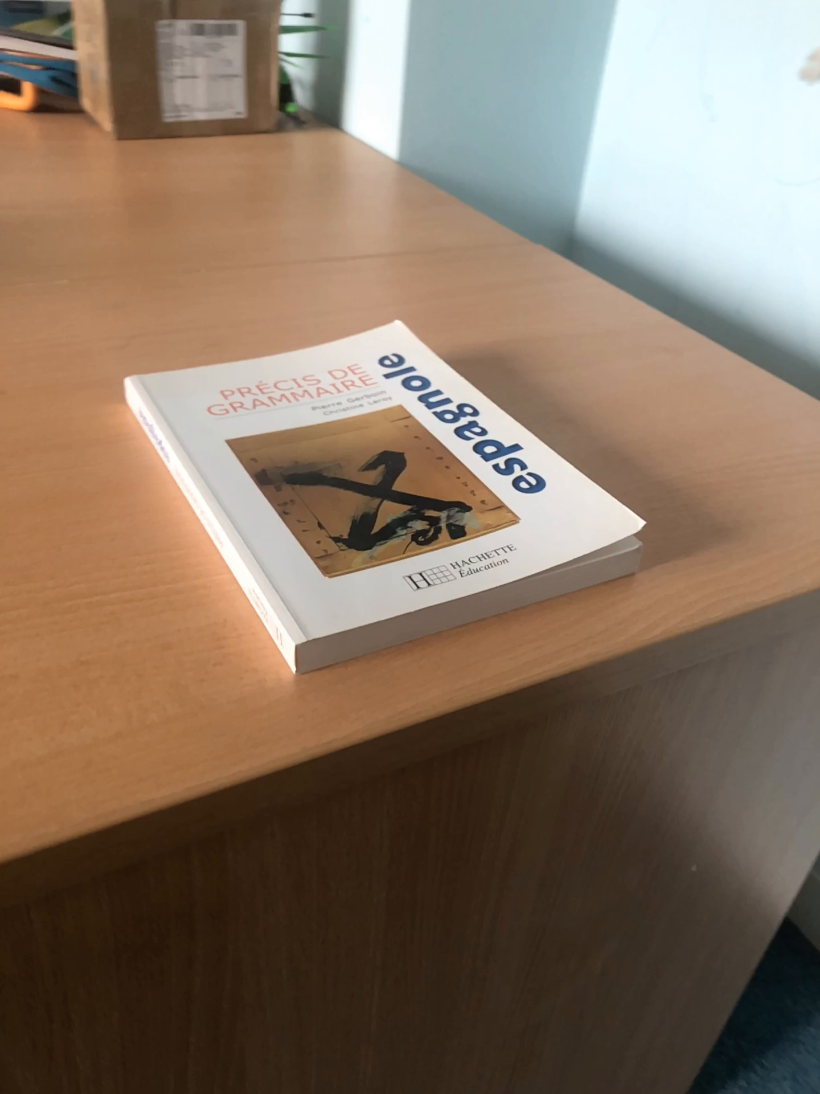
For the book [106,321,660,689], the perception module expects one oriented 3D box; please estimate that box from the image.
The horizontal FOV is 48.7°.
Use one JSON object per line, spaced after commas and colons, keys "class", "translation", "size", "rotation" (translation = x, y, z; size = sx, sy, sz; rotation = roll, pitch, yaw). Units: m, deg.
{"class": "book", "translation": [-0.028, -0.044, 0.447], "size": [0.181, 0.020, 0.241], "rotation": [-16, 41, -24]}
